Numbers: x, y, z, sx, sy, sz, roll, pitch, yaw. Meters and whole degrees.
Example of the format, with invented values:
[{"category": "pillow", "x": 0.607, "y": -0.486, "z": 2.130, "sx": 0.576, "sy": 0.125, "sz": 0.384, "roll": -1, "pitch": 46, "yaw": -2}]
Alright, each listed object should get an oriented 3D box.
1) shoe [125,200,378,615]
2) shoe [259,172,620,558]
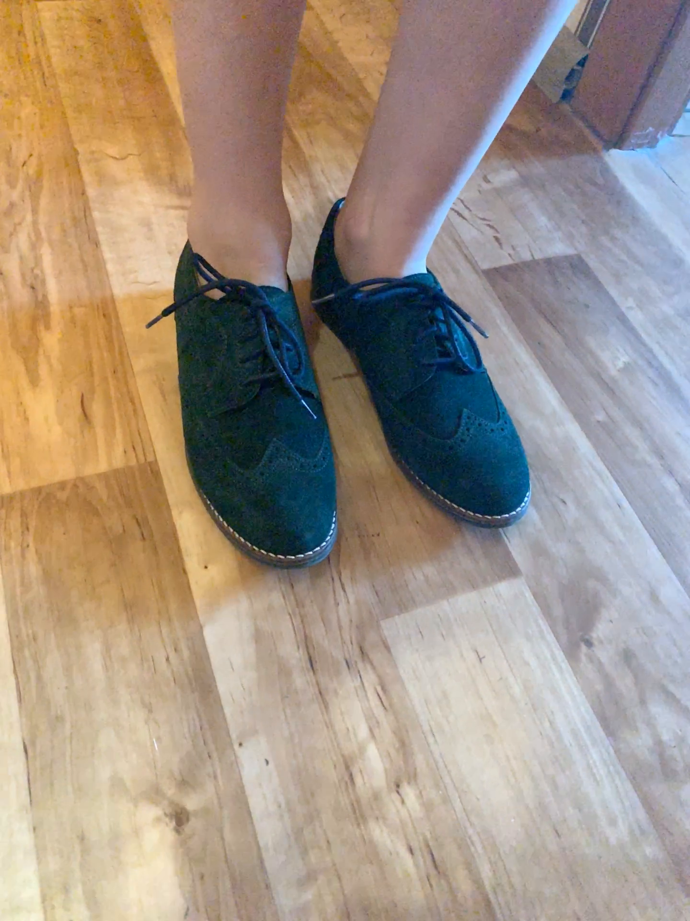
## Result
[{"category": "shoe", "x": -0.071, "y": -0.047, "z": 0.455, "sx": 0.090, "sy": 0.080, "sz": 0.261, "roll": -11, "pitch": 59, "yaw": -16}, {"category": "shoe", "x": 0.046, "y": -0.074, "z": 0.474, "sx": 0.100, "sy": 0.080, "sz": 0.250, "roll": -23, "pitch": 63, "yaw": -23}]
